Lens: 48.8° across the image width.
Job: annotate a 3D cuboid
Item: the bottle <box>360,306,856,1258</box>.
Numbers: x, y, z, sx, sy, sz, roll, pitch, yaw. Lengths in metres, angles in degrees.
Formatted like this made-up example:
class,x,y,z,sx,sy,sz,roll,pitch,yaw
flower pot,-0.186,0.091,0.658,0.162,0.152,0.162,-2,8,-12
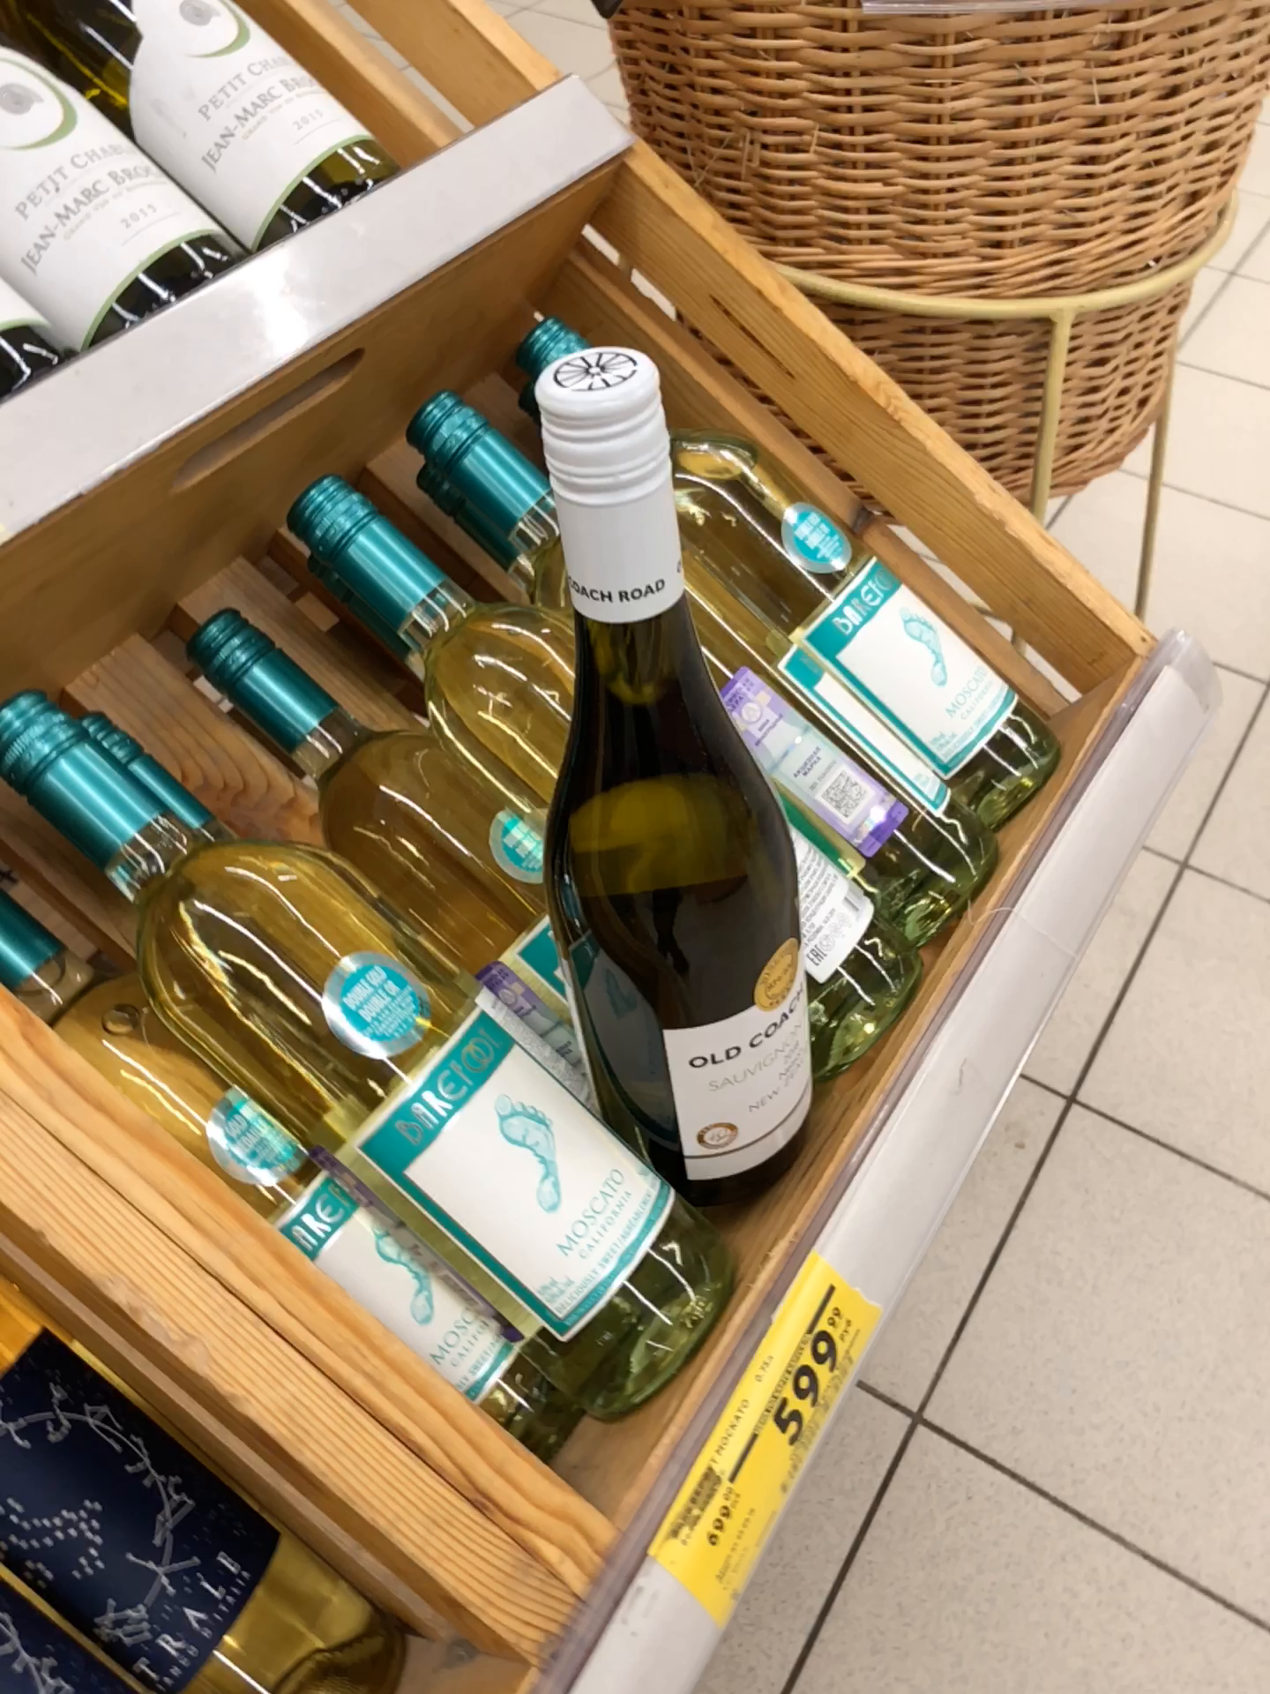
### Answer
class,x,y,z,sx,sy,sz,roll,pitch,yaw
bottle,0.006,0.001,0.426,0.088,0.290,0.078,21,51,25
